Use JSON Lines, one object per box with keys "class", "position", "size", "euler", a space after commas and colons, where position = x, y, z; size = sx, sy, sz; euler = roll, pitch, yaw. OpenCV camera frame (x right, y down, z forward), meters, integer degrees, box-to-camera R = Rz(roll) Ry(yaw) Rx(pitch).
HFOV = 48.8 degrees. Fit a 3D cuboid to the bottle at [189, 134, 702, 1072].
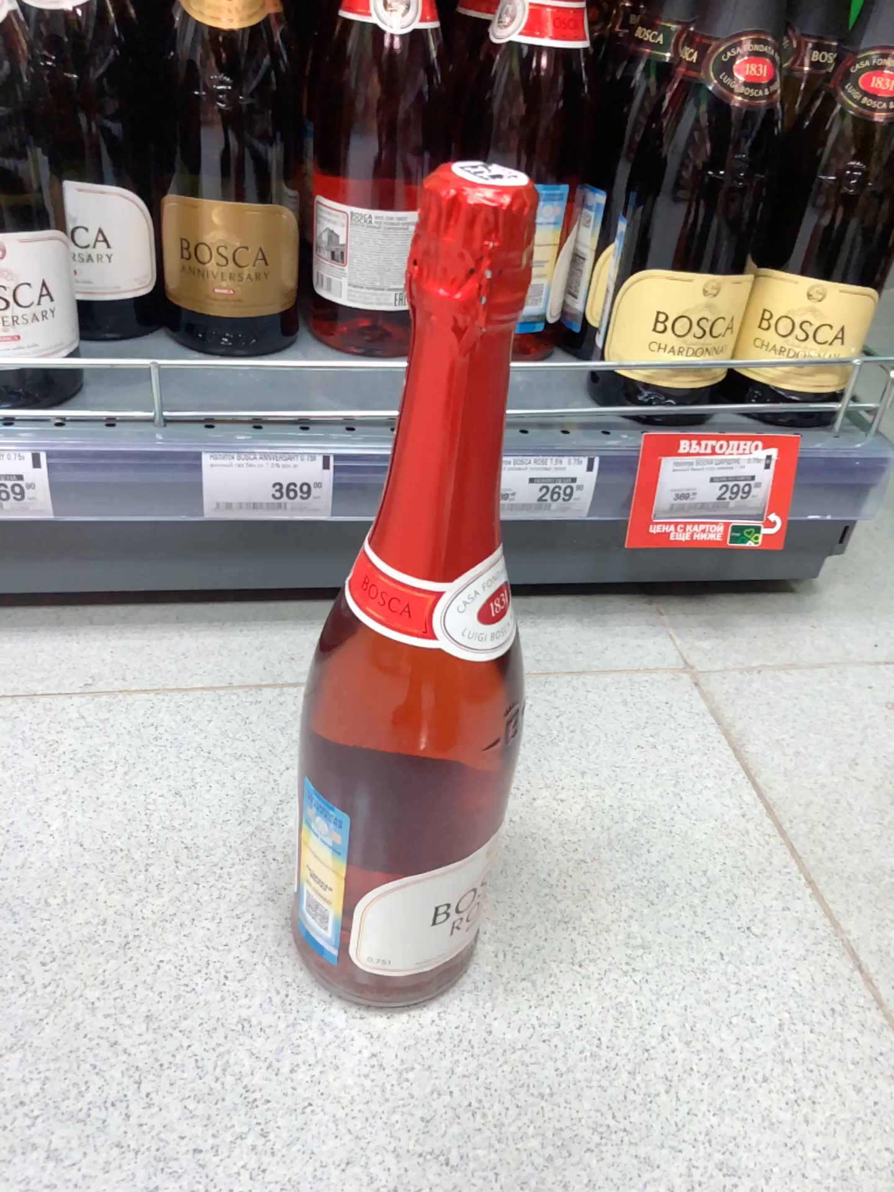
{"class": "bottle", "position": [-0.016, 0.018, 0.357], "size": [0.100, 0.317, 0.100], "euler": [5, 35, -4]}
